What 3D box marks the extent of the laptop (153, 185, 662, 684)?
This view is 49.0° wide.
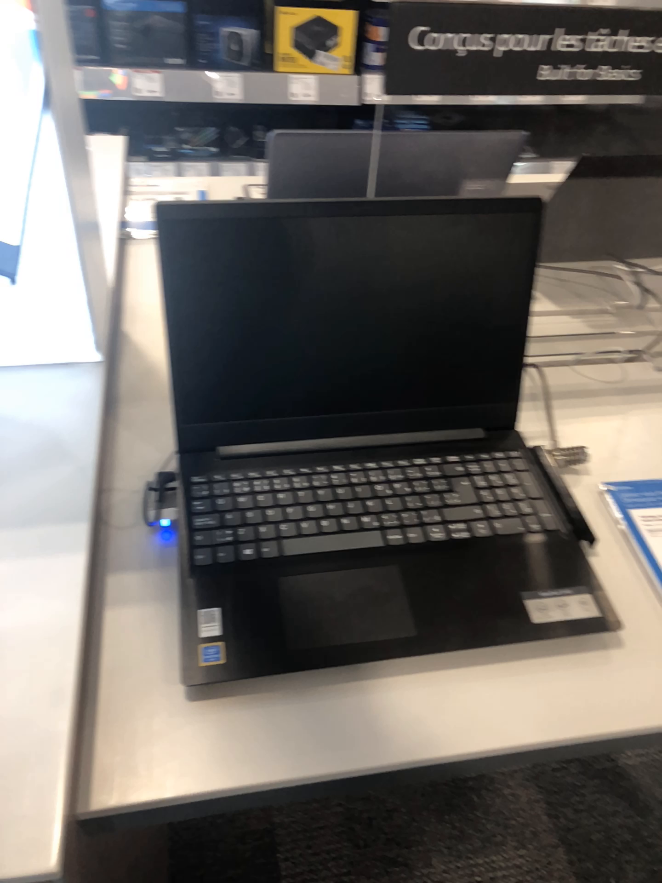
[{"bbox_3d":[0.040,-0.029,0.601,0.345,0.213,0.324,-4,45,-10],"label":"laptop"}]
